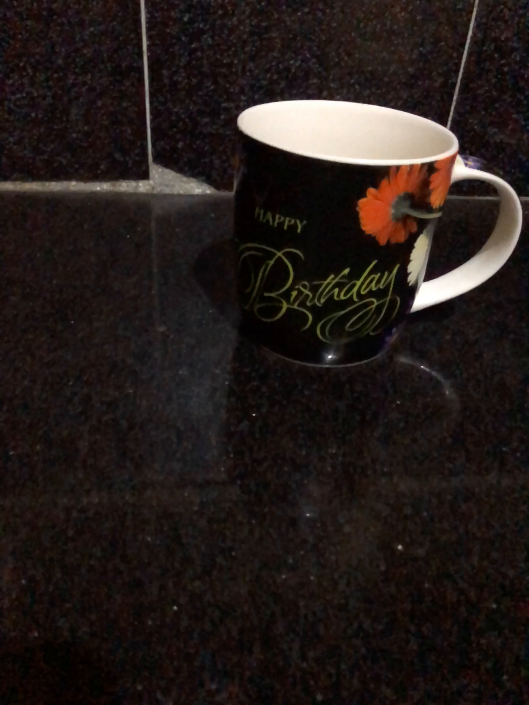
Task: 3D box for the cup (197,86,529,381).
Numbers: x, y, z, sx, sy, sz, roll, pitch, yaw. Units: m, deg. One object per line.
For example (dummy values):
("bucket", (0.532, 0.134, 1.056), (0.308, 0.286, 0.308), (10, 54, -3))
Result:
("cup", (0.038, -0.052, 0.253), (0.130, 0.089, 0.091), (1, 36, -6))
